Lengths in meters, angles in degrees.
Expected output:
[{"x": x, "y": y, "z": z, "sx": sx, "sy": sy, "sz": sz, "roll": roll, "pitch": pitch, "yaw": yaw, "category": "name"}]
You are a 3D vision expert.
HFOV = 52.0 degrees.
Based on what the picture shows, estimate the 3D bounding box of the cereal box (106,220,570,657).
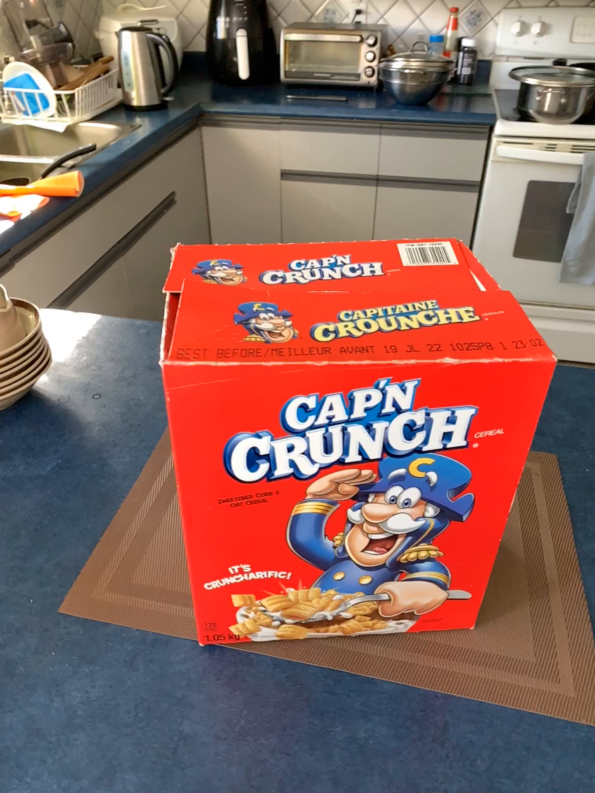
[{"x": 0.020, "y": 0.034, "z": 0.525, "sx": 0.270, "sy": 0.297, "sz": 0.212, "roll": -2, "pitch": 36, "yaw": -3, "category": "cereal box"}]
